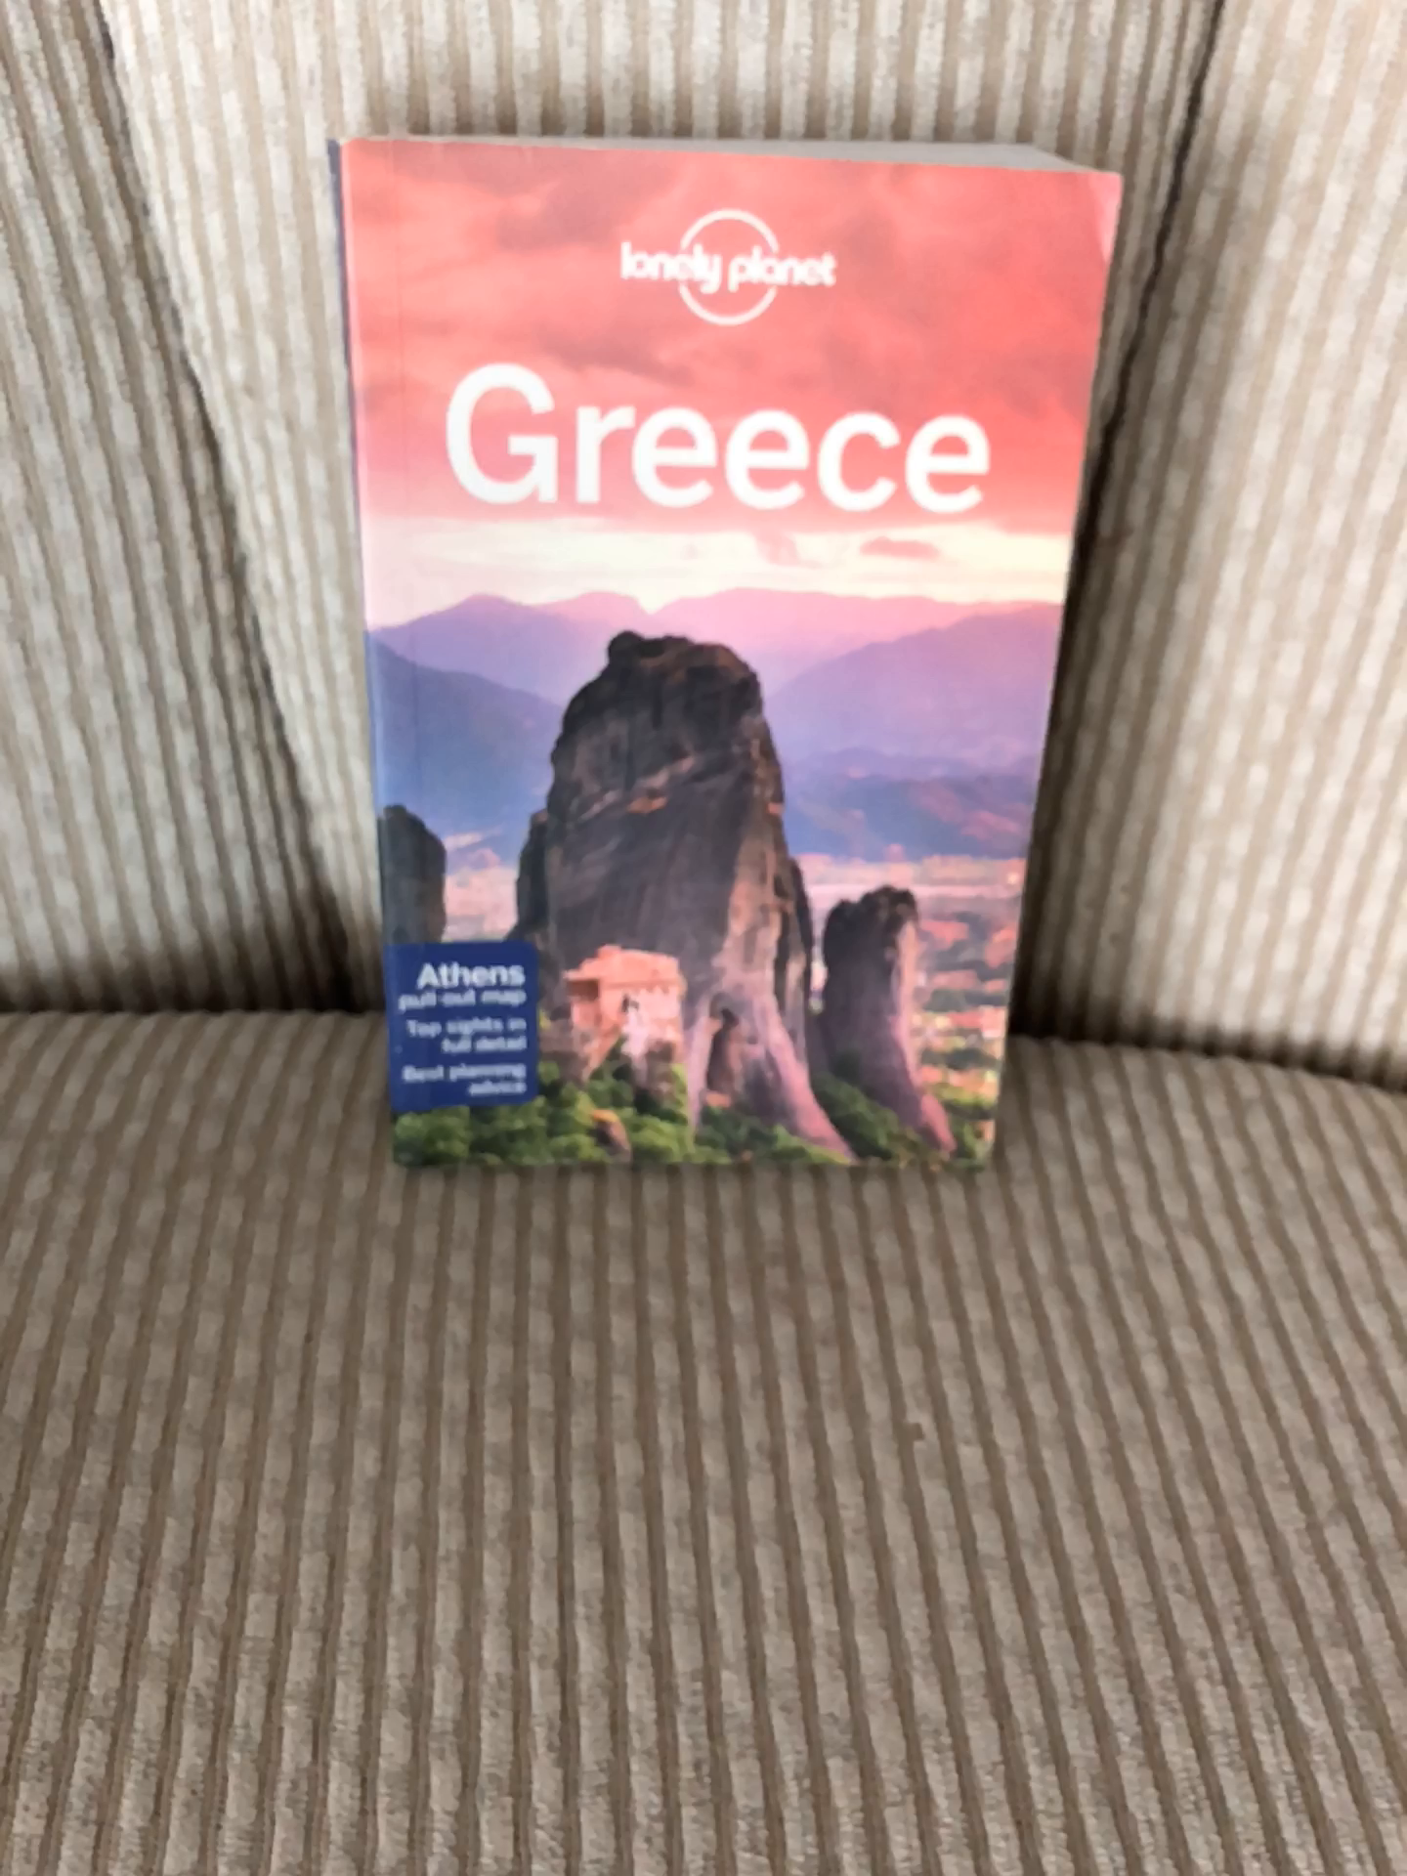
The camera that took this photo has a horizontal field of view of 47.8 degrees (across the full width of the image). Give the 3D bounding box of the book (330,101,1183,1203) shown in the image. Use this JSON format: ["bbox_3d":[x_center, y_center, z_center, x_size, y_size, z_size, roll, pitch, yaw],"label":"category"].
[{"bbox_3d":[0.006,-0.045,0.307,0.132,0.201,0.041,1,25,-1],"label":"book"}]
